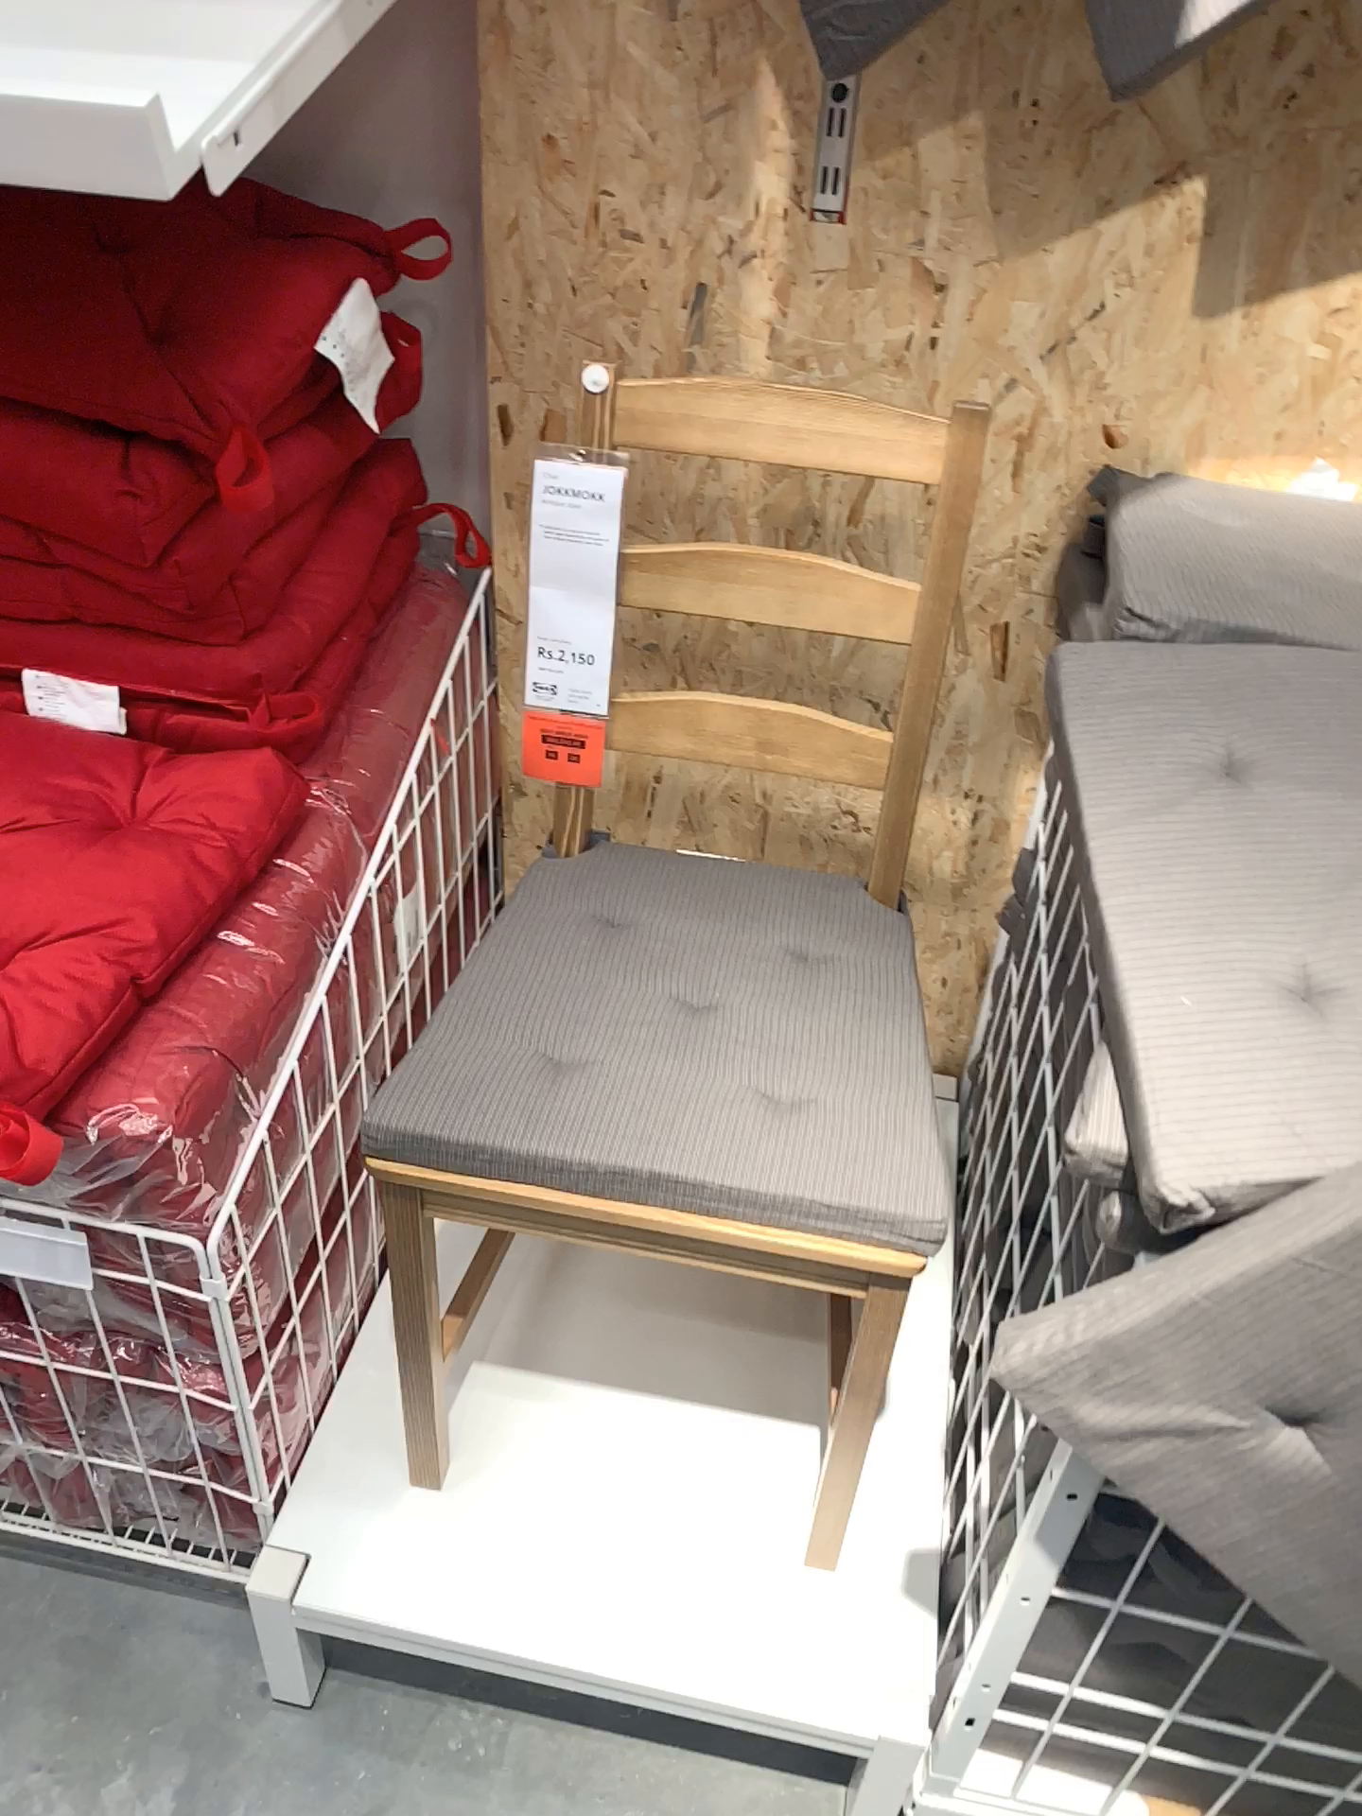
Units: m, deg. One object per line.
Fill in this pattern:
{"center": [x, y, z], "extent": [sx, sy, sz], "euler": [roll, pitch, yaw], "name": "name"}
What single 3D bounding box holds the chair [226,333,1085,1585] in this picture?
{"center": [0.001, 0.063, 1.156], "extent": [0.440, 0.866, 0.502], "euler": [9, 38, 6], "name": "chair"}
